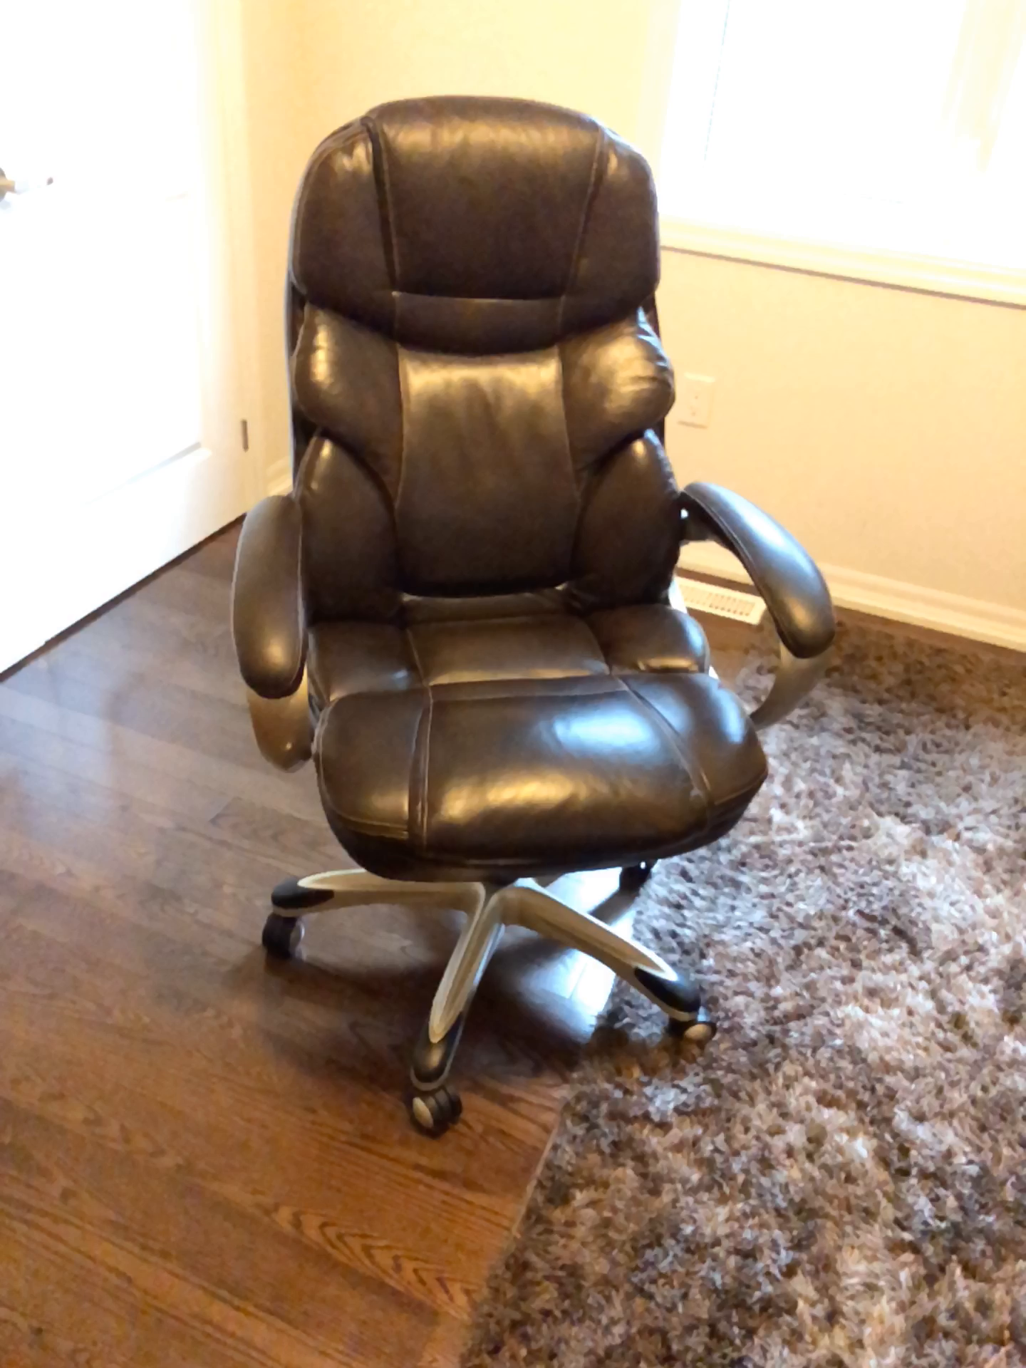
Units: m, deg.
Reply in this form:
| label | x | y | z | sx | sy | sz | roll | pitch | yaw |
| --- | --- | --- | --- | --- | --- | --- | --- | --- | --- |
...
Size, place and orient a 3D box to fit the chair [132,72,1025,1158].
| label | x | y | z | sx | sy | sz | roll | pitch | yaw |
| --- | --- | --- | --- | --- | --- | --- | --- | --- | --- |
| chair | -0.008 | -0.096 | 1.481 | 0.730 | 1.135 | 0.743 | -2 | 33 | -10 |
